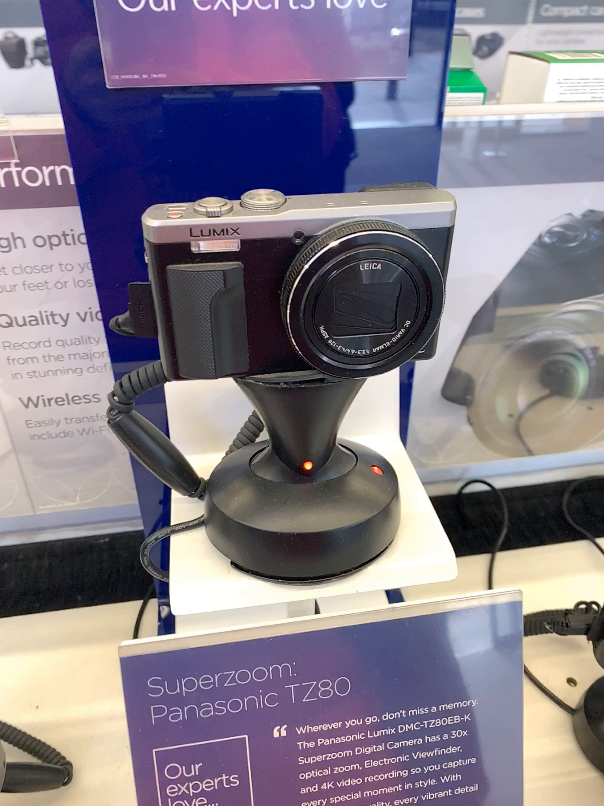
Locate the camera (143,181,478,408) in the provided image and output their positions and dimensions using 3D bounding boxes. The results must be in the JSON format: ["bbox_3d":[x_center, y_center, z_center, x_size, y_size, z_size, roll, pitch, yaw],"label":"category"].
[{"bbox_3d":[0.002,-0.041,0.232,0.110,0.069,0.030,-5,33,-10],"label":"camera"}]
